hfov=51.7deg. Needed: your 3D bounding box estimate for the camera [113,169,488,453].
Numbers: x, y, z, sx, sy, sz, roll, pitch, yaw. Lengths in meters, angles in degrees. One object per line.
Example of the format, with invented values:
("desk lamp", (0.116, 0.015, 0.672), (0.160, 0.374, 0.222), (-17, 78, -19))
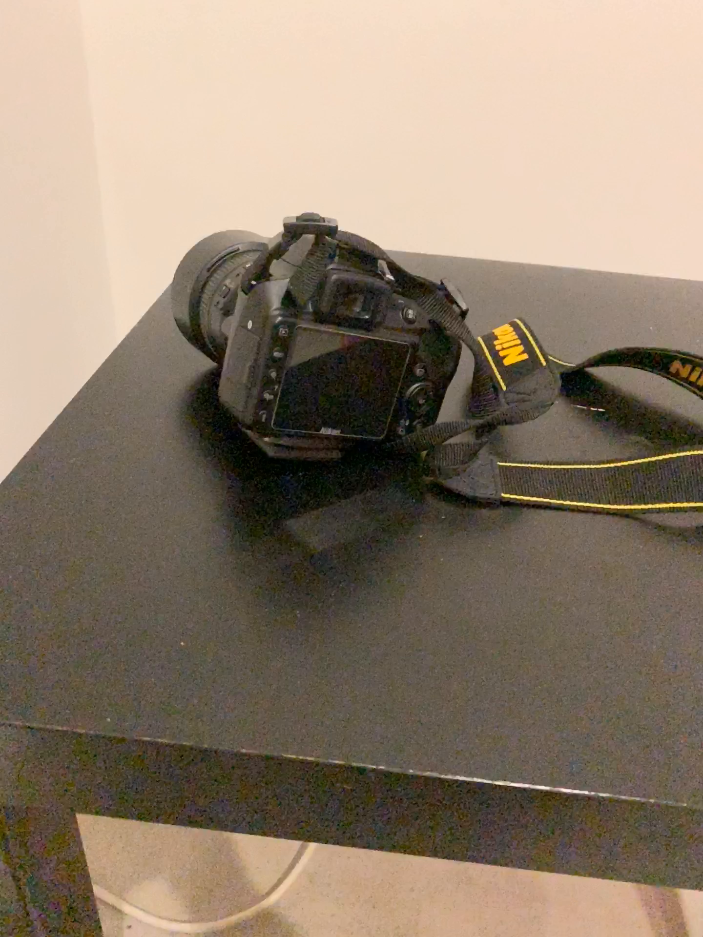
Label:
("camera", (-0.047, -0.099, 0.423), (0.116, 0.089, 0.221), (4, 23, -34))
